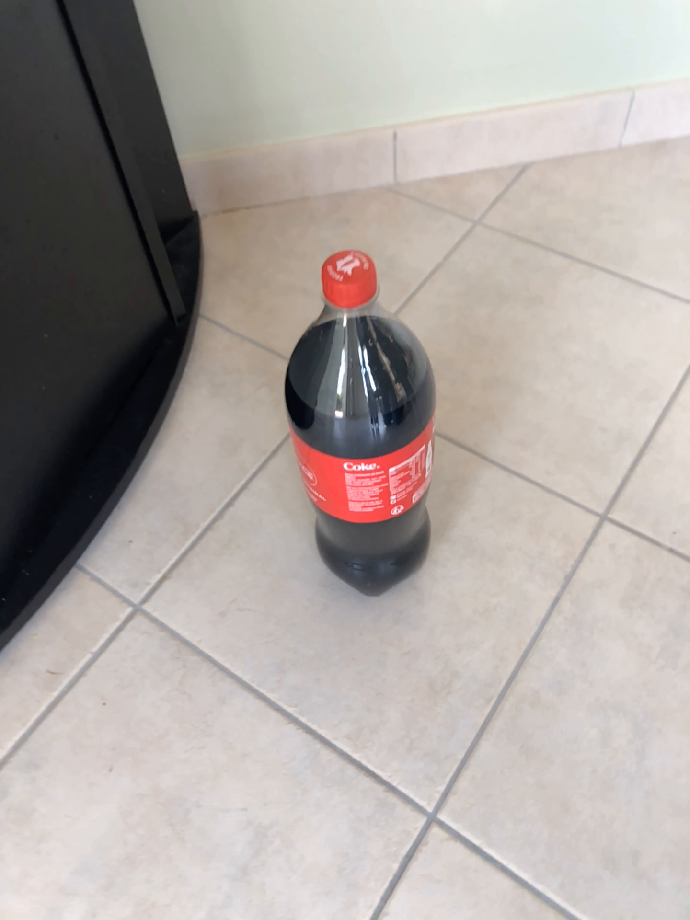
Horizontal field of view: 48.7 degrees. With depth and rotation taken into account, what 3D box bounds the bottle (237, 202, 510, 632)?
[{"bbox_3d":[0.026,-0.006,0.532,0.110,0.309,0.101,-2,56,3],"label":"bottle"}]
